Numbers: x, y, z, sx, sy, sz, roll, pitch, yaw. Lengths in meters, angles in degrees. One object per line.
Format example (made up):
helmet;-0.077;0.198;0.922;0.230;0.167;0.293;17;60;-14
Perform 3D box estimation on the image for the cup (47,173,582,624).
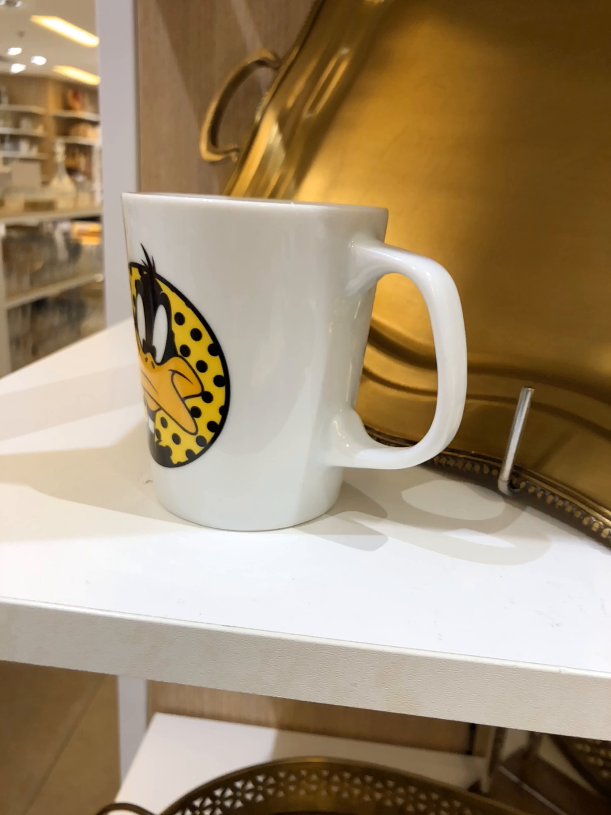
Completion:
cup;0.001;-0.019;0.206;0.120;0.089;0.090;15;21;33
